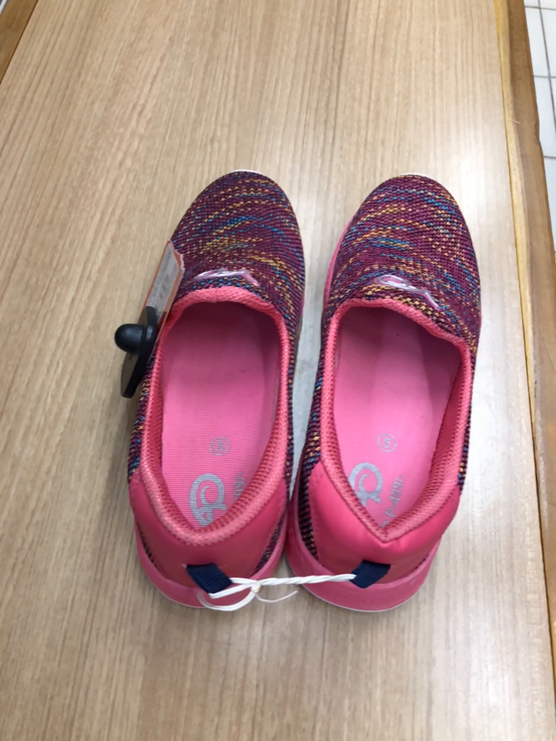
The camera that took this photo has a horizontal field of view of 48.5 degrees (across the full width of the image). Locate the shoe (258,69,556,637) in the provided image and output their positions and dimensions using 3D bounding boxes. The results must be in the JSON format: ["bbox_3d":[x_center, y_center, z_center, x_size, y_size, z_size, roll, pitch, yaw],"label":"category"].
[{"bbox_3d":[0.064,-0.013,0.299,0.104,0.103,0.245,8,64,4],"label":"shoe"}]

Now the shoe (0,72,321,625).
[{"bbox_3d":[-0.037,-0.014,0.299,0.105,0.103,0.245,3,64,1],"label":"shoe"}]
